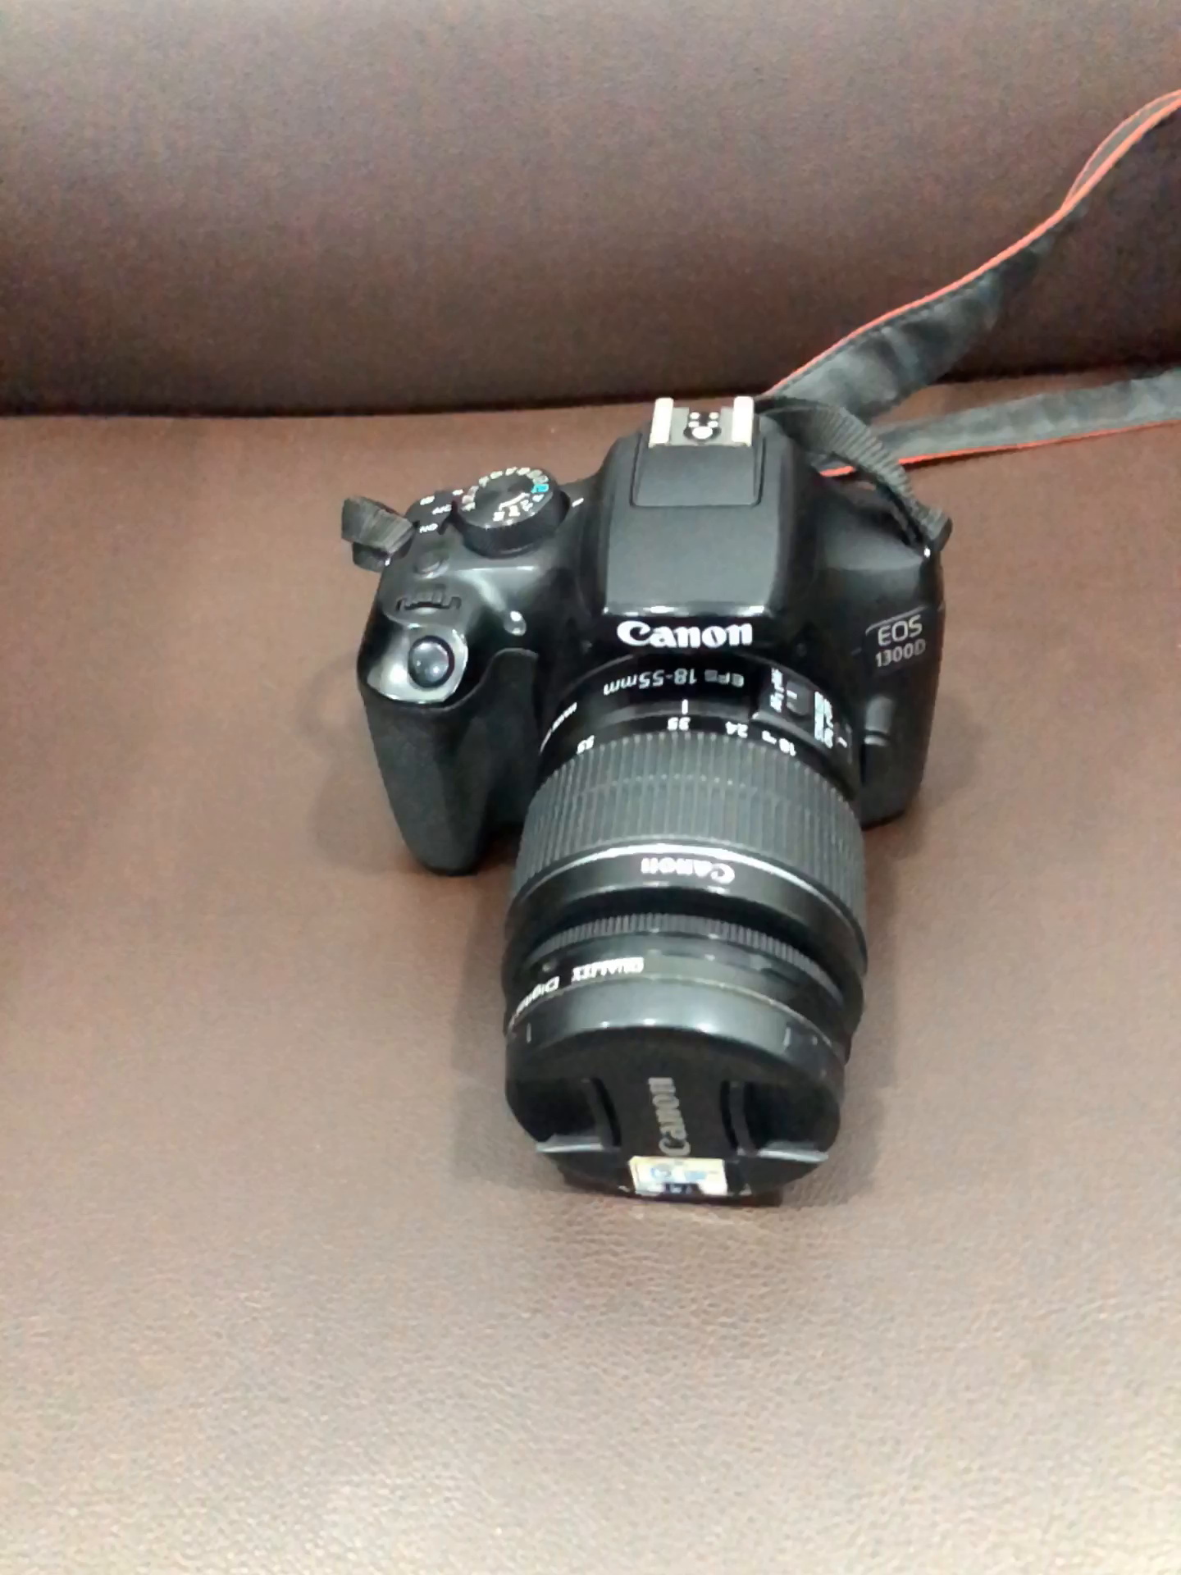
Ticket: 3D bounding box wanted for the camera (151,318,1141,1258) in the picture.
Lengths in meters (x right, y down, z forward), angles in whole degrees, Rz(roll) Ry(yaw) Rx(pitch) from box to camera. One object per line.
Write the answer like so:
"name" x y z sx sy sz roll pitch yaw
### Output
"camera" 0.016 -0.013 0.263 0.130 0.089 0.171 2 44 7
